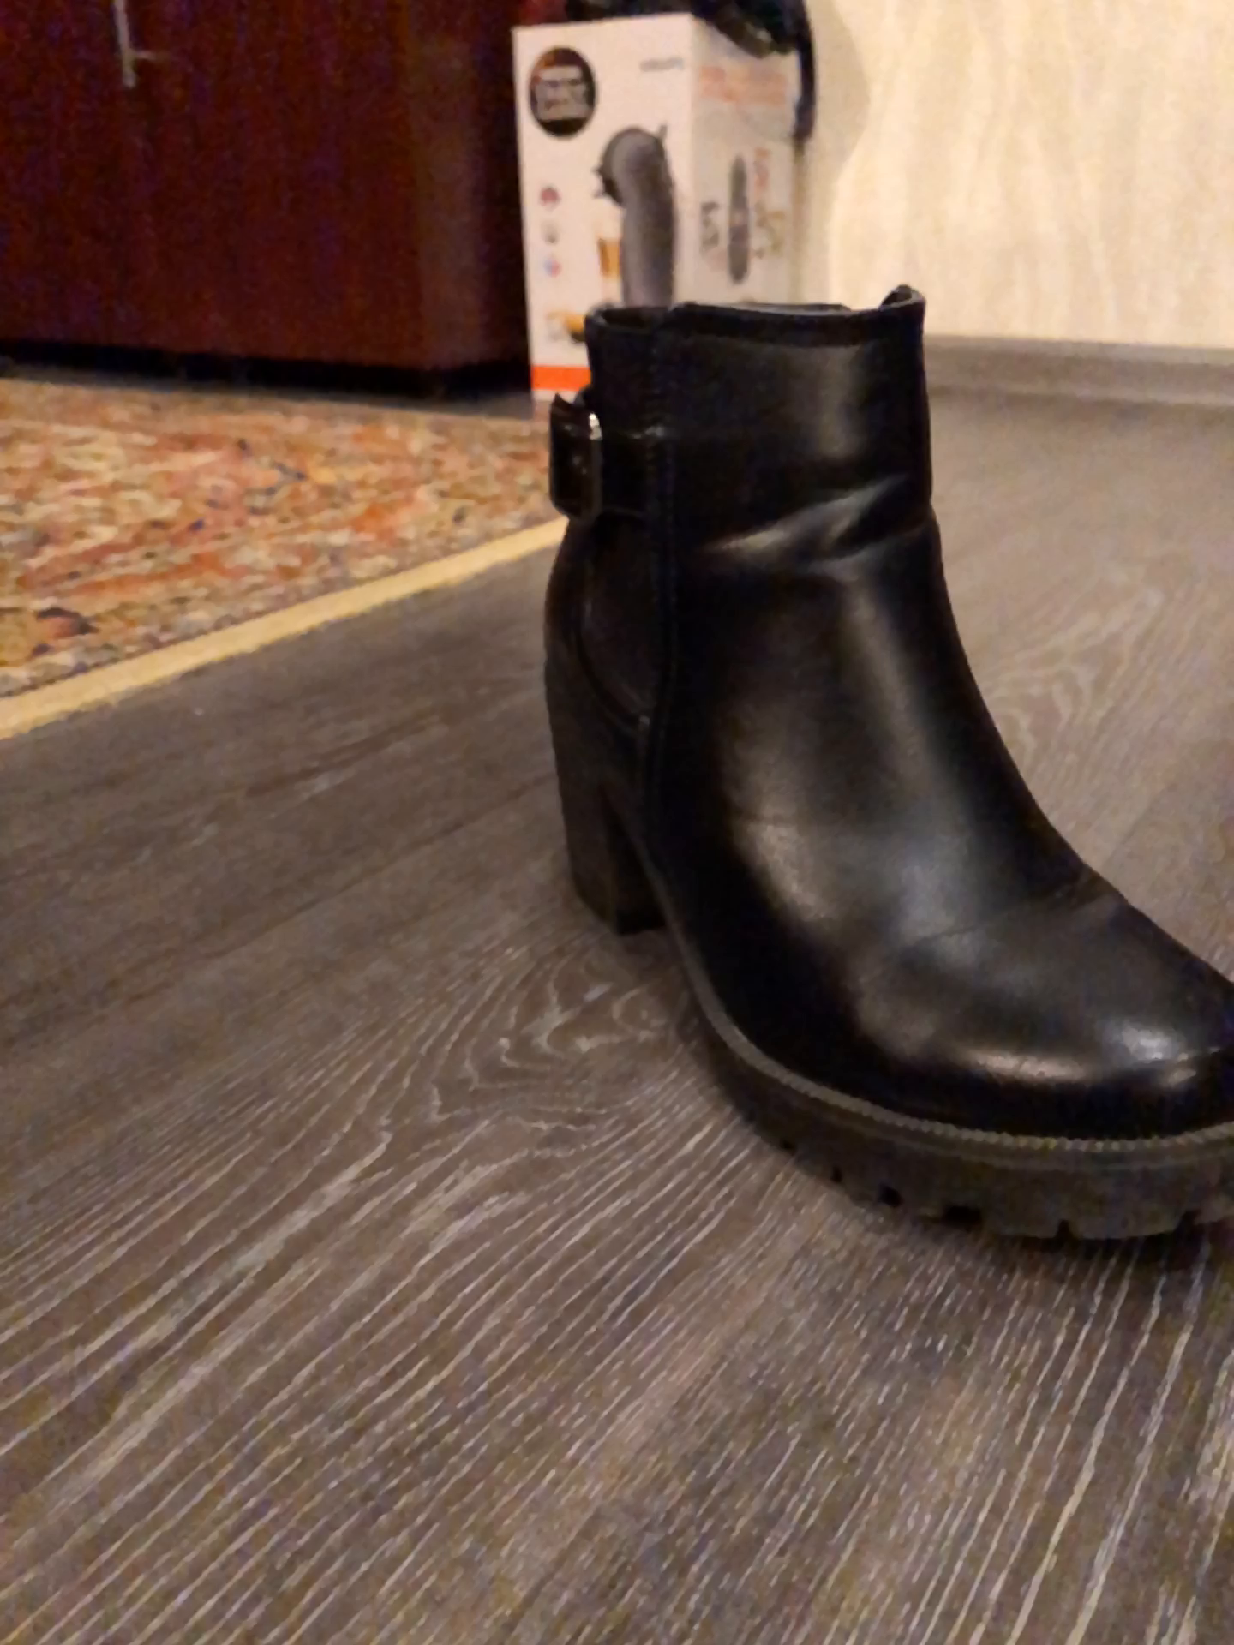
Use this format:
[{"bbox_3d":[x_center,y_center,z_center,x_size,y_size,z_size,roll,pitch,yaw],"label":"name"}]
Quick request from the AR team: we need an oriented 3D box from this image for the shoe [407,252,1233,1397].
[{"bbox_3d":[0.049,-0.032,0.320,0.090,0.179,0.241,-15,28,-29],"label":"shoe"}]
